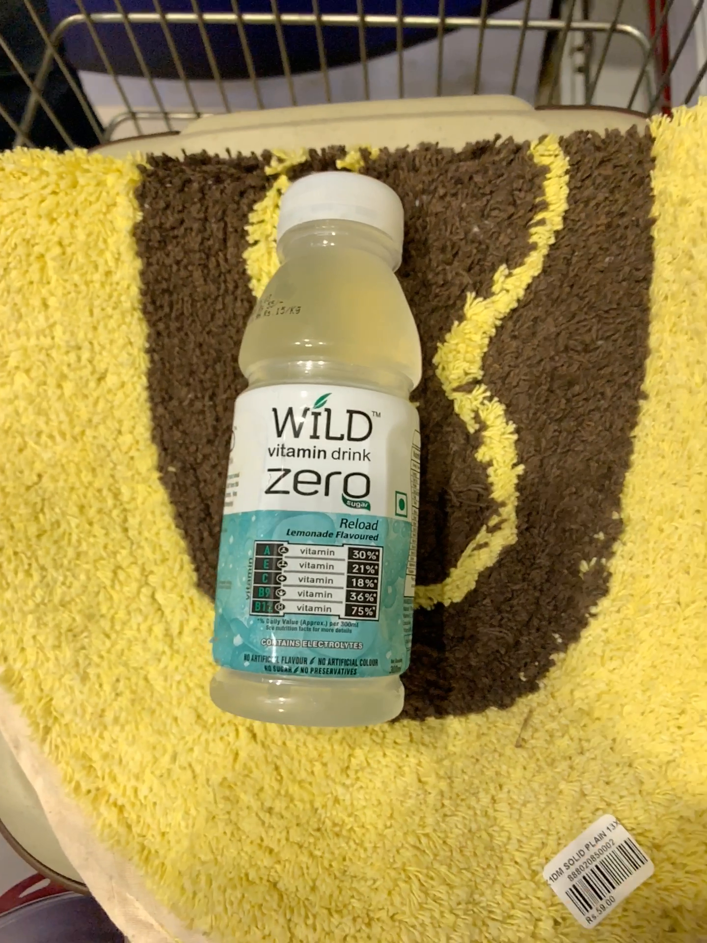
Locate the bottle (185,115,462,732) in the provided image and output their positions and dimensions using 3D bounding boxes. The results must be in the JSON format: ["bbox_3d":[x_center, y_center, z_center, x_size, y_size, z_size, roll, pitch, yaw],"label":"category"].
[{"bbox_3d":[-0.004,-0.016,0.209,0.060,0.040,0.160,3,79,7],"label":"bottle"}]
